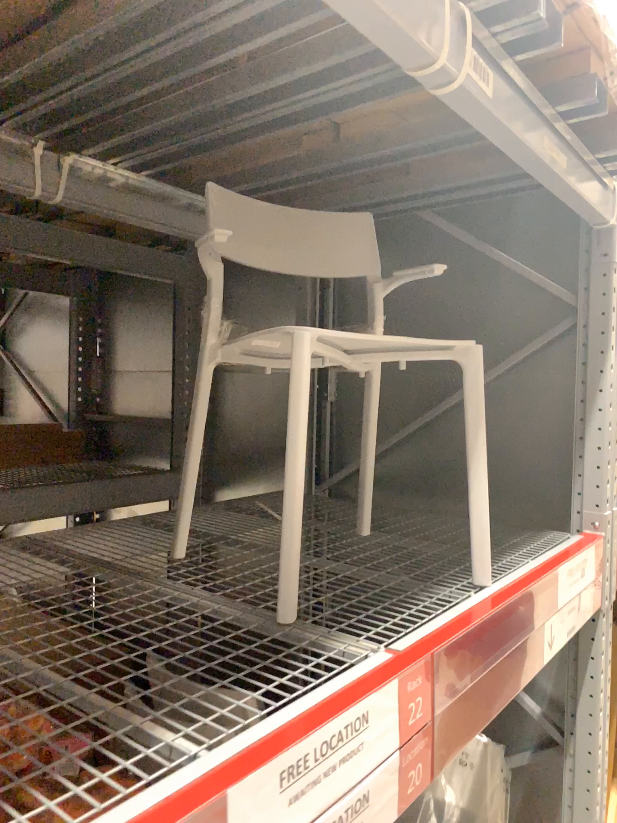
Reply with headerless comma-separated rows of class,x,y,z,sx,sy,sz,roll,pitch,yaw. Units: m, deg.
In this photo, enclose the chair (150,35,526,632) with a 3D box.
chair,0.025,-0.114,1.227,0.480,0.820,0.550,1,1,-33
